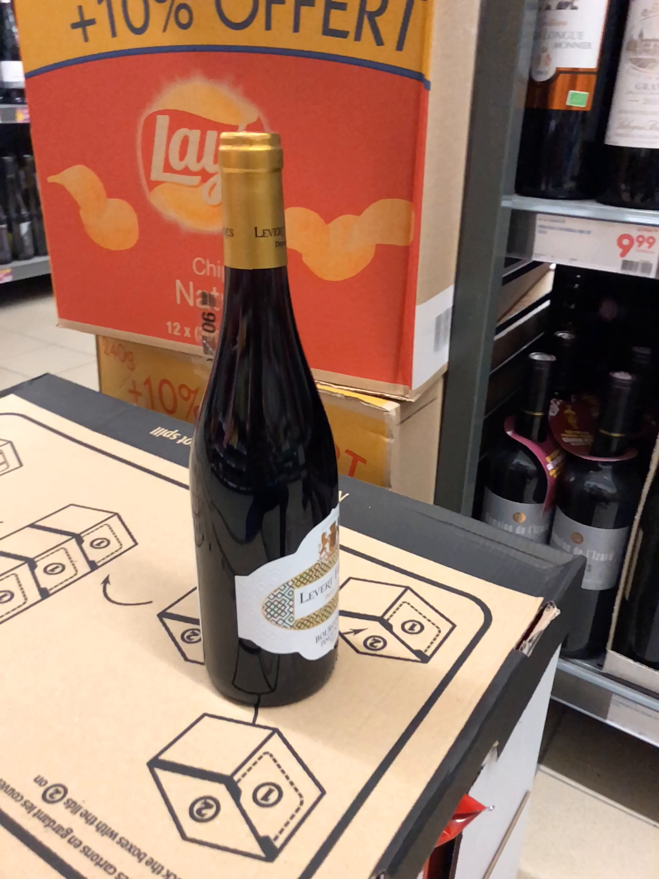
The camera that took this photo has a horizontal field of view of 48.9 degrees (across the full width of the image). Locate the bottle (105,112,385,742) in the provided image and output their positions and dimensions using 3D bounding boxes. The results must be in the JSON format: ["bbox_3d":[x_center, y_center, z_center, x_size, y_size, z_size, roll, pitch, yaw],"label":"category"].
[{"bbox_3d":[-0.036,-0.002,0.370,0.080,0.298,0.091,15,28,26],"label":"bottle"}]
